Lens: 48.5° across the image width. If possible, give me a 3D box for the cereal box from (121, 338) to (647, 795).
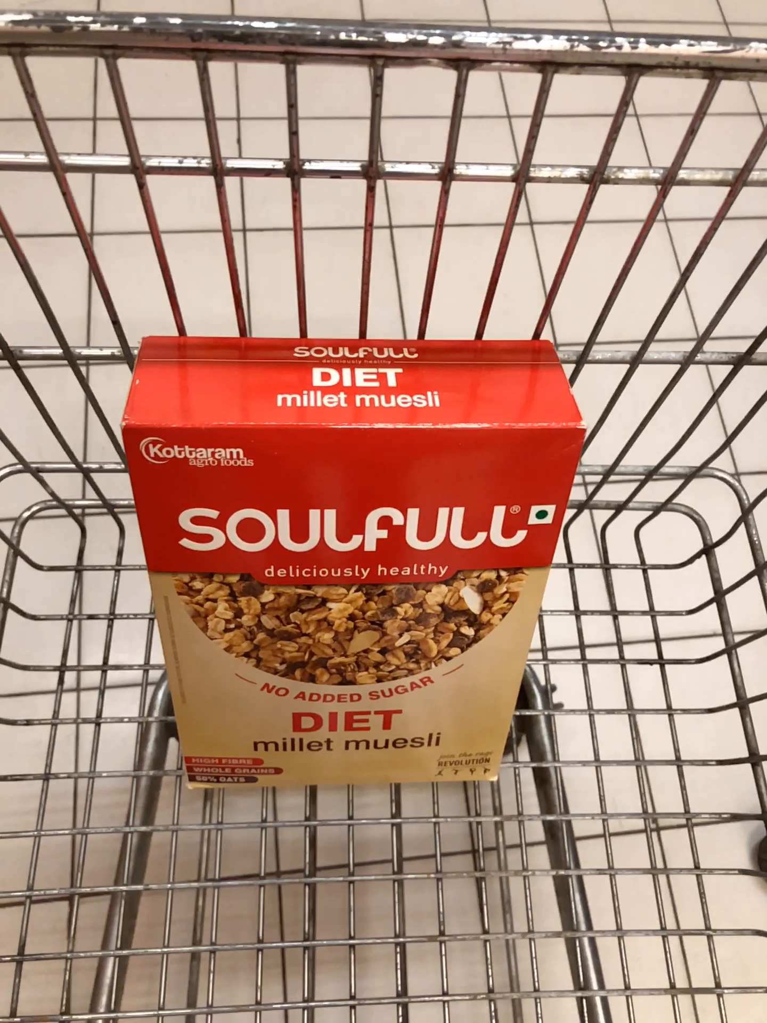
[{"bbox_3d":[-0.007,0.043,0.380,0.170,0.249,0.050,0,46,-5],"label":"cereal box"}]
